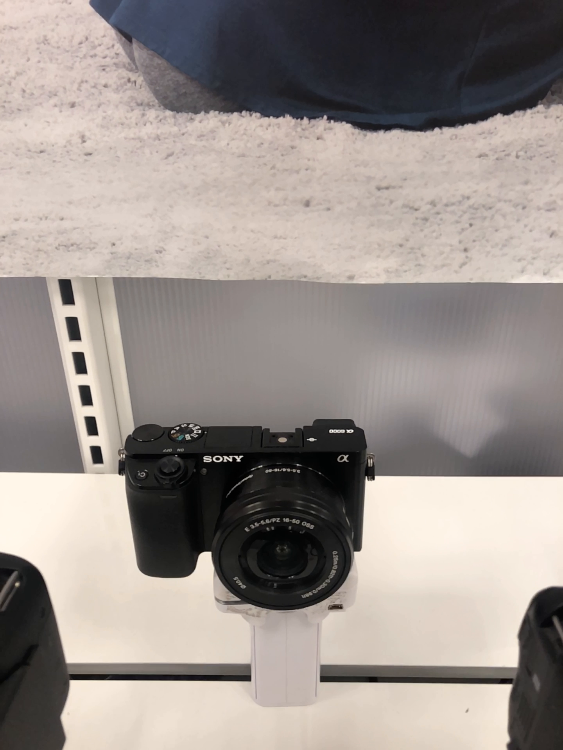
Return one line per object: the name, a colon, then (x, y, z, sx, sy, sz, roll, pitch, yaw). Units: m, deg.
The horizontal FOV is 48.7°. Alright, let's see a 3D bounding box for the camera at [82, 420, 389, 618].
camera: (-0.018, 0.064, 0.286, 0.120, 0.058, 0.068, 0, 29, -1)
